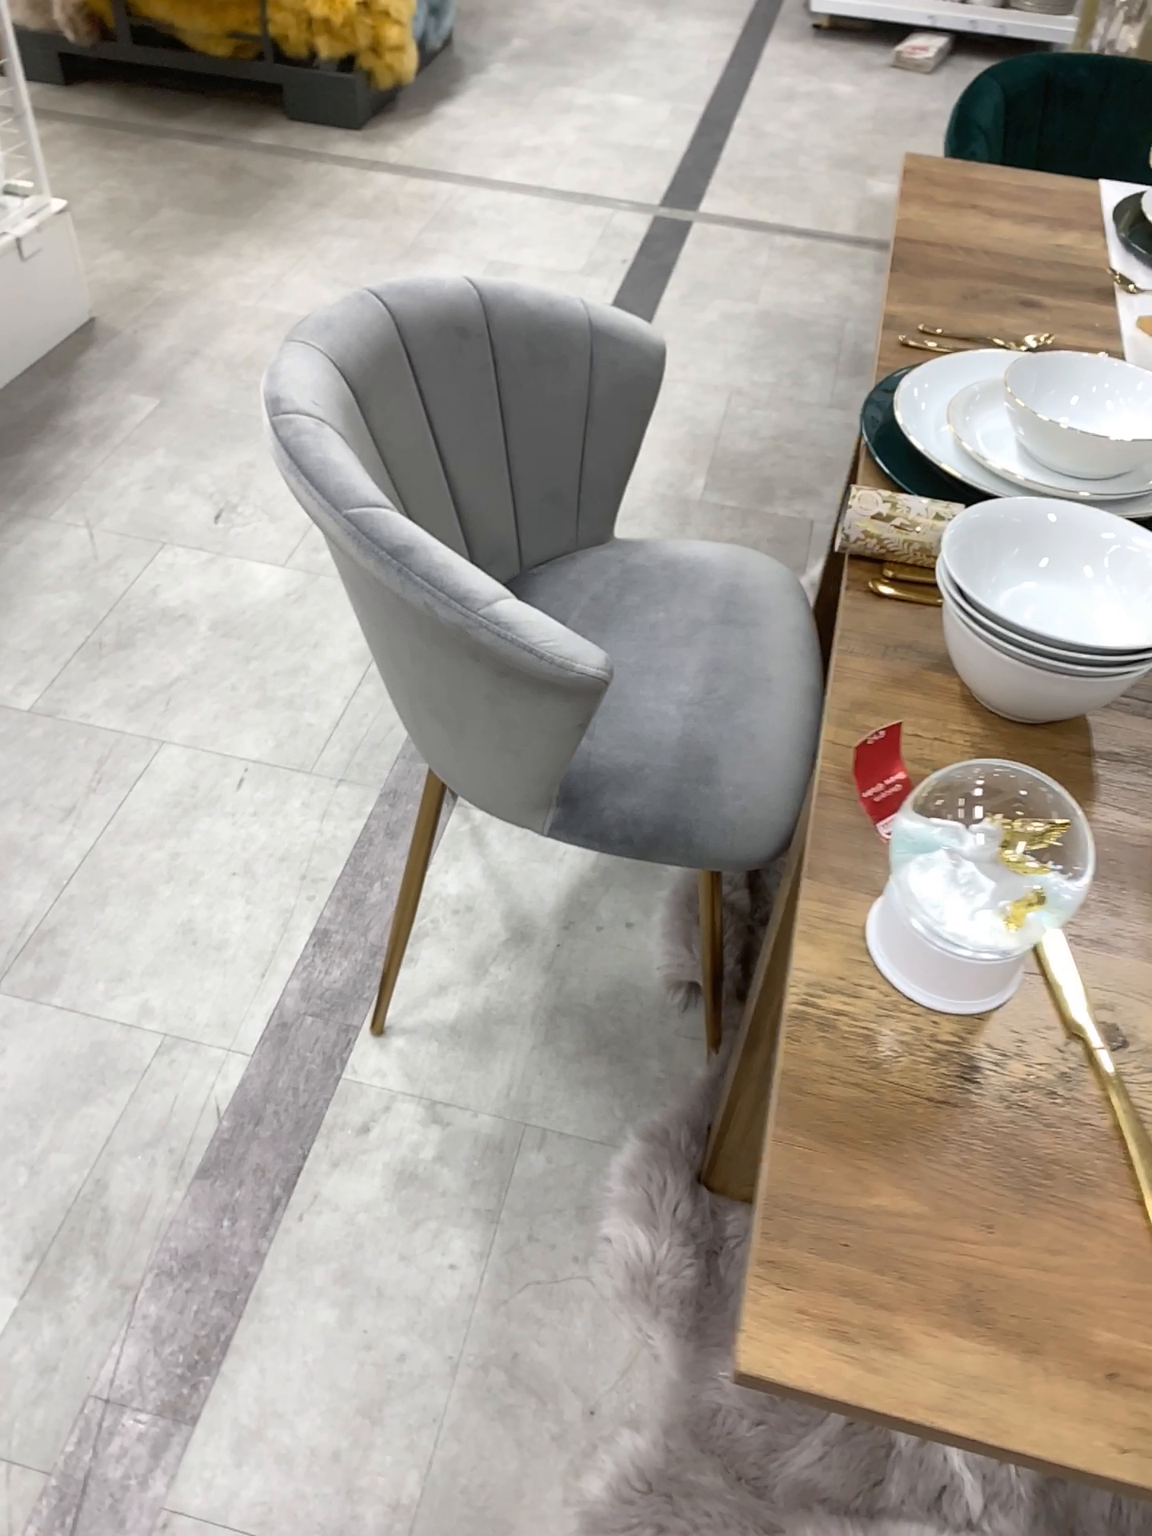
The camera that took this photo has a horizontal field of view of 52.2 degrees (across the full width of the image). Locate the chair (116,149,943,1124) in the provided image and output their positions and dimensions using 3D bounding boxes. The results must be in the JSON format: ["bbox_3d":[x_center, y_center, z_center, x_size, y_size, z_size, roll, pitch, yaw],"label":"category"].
[{"bbox_3d":[-0.008,-0.134,1.242,0.550,0.709,0.636,9,46,4],"label":"chair"}]
